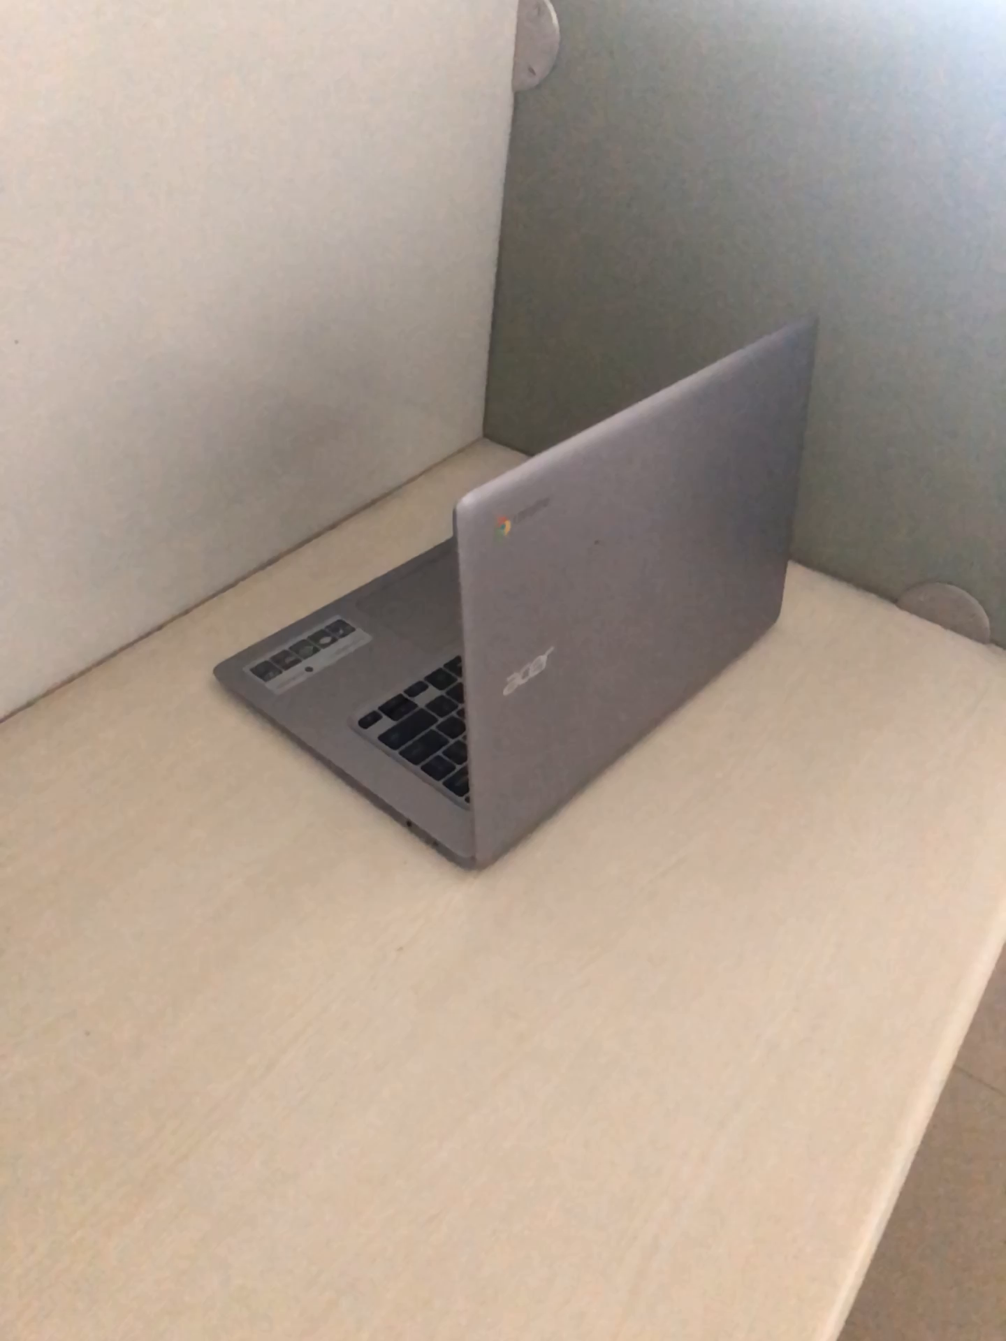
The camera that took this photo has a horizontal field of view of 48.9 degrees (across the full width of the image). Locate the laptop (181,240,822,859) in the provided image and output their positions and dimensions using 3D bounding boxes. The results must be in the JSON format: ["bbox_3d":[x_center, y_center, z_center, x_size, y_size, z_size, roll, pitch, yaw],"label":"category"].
[{"bbox_3d":[0.008,-0.102,0.684,0.221,0.218,0.322,28,41,27],"label":"laptop"}]
